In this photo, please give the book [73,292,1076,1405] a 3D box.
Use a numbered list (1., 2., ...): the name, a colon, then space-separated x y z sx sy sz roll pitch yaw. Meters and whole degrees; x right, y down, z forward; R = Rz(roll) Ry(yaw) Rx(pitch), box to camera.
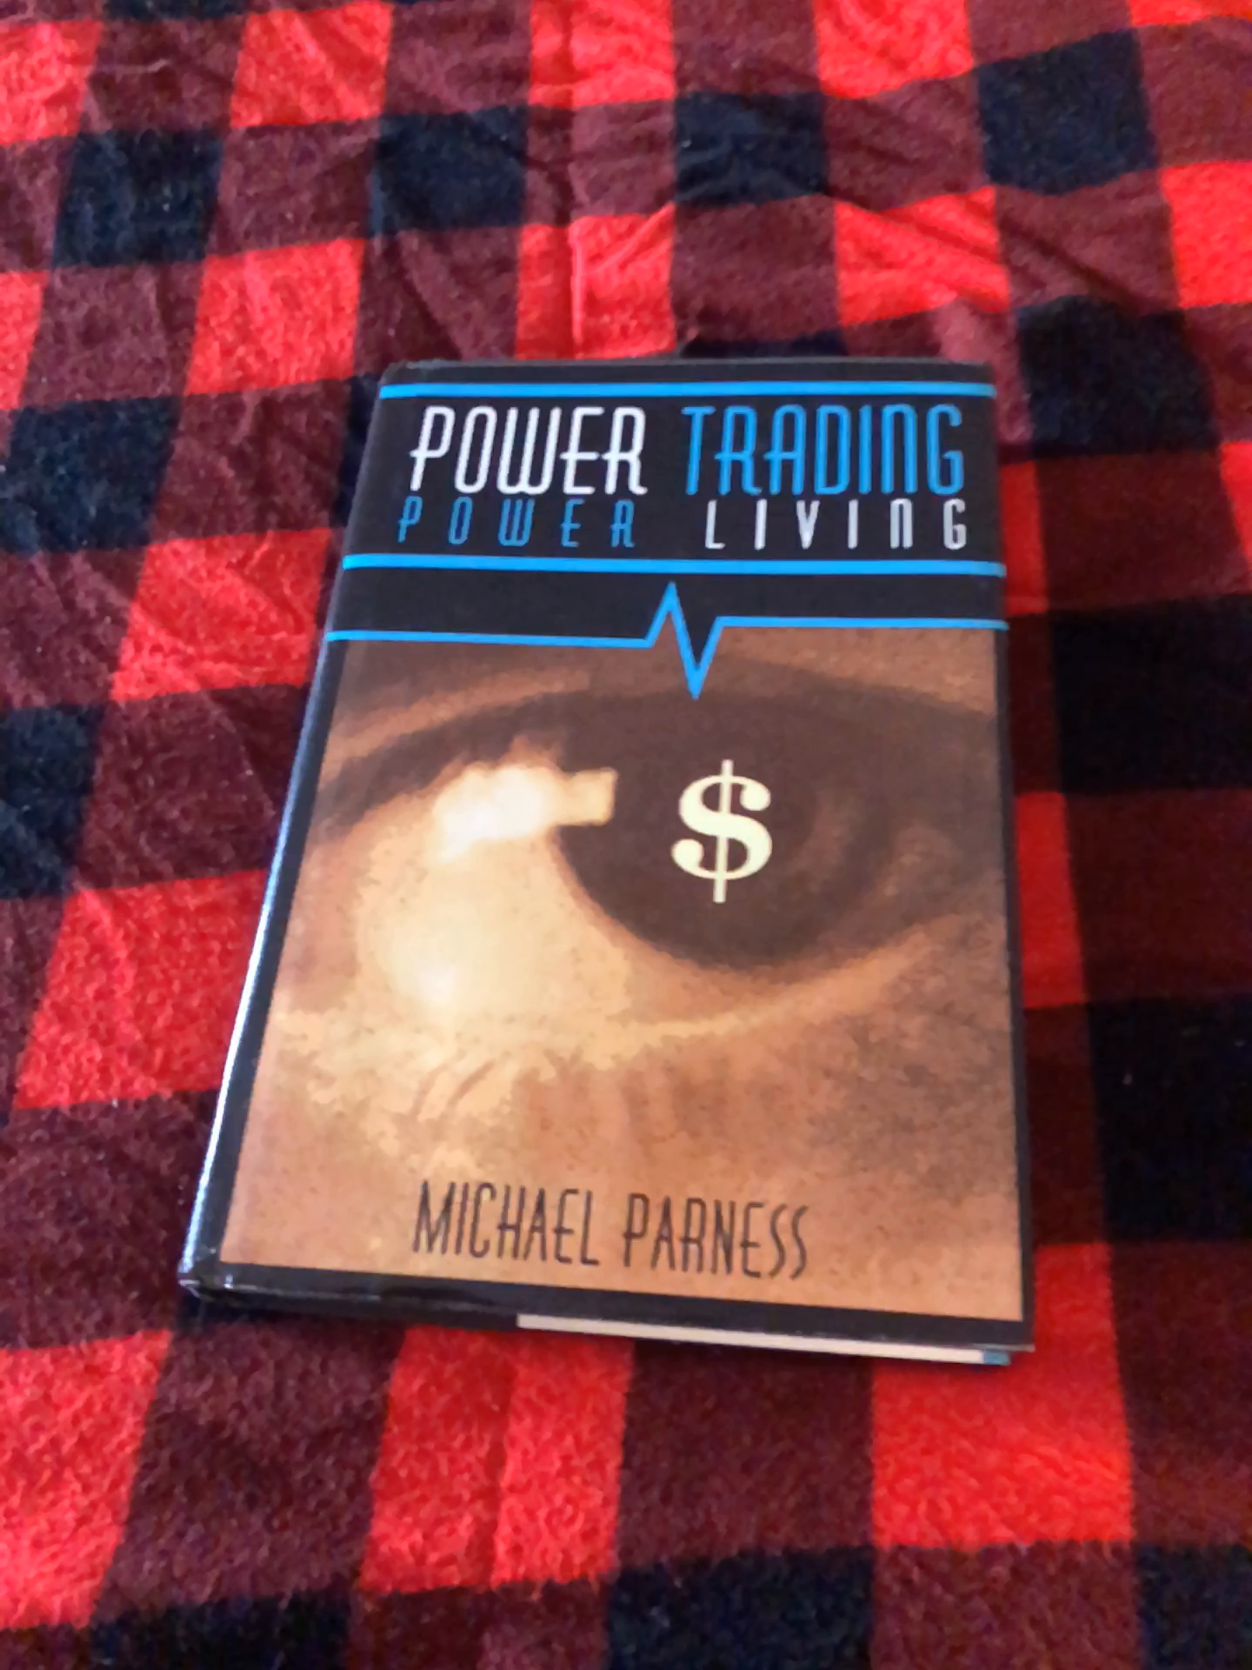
1. book: 0.000 -0.014 0.301 0.170 0.040 0.241 3 65 6
